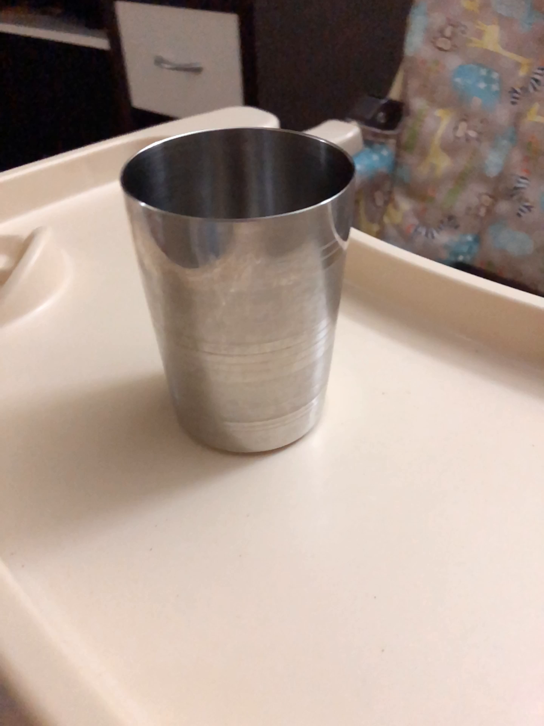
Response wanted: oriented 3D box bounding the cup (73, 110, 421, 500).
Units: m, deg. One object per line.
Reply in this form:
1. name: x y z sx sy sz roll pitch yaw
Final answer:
1. cup: -0.007 -0.023 0.208 0.073 0.090 0.073 -2 40 1
